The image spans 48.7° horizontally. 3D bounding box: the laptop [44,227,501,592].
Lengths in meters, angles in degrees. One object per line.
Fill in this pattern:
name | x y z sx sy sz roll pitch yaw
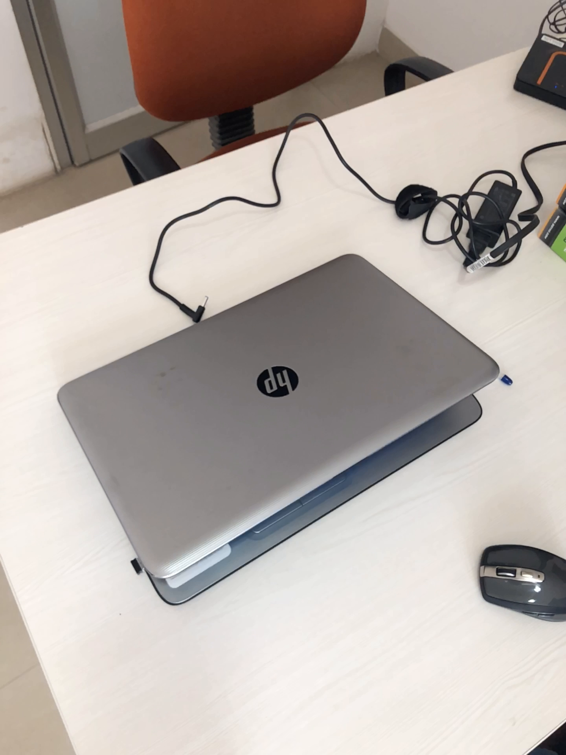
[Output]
laptop | -0.008 0.010 0.611 0.356 0.062 0.226 -27 65 -18
